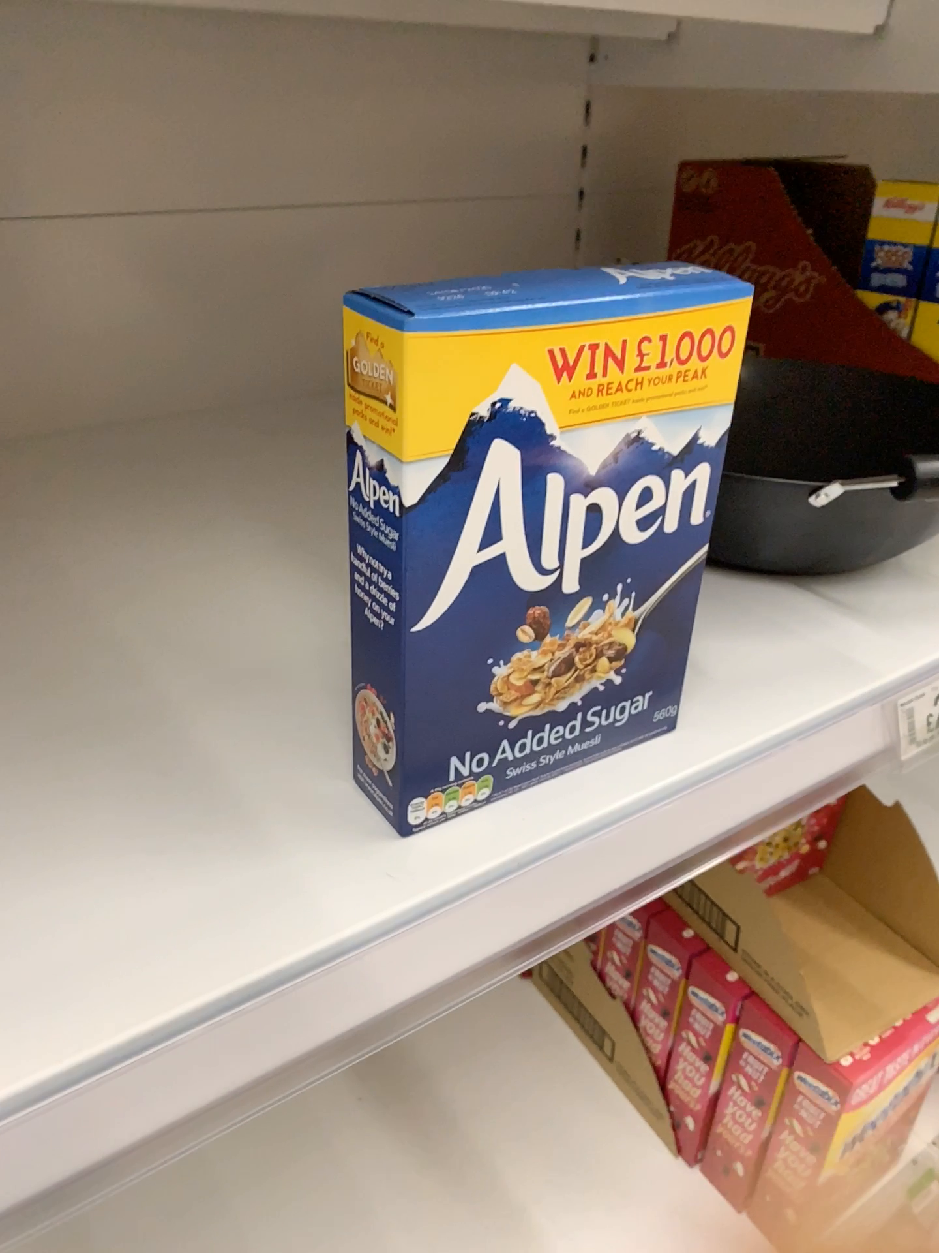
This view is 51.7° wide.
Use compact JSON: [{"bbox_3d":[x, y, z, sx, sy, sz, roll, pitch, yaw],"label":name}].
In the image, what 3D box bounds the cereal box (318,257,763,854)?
[{"bbox_3d":[0.030,-0.036,0.450,0.181,0.238,0.060,-15,33,-29],"label":"cereal box"}]
